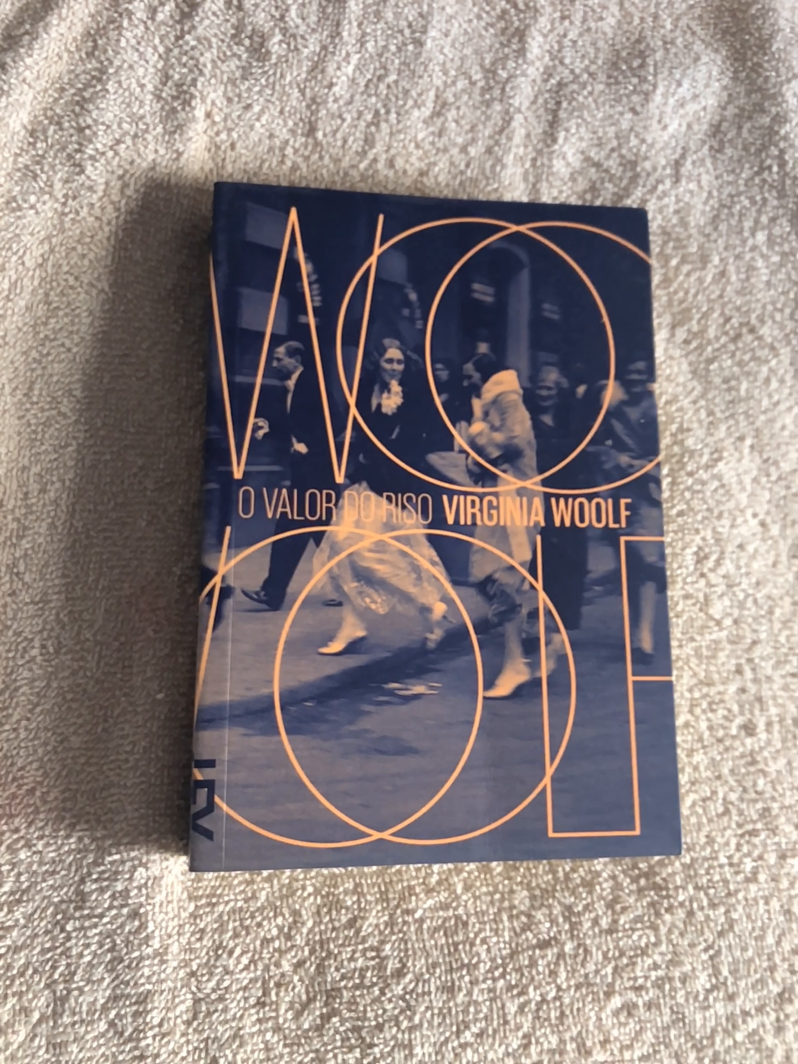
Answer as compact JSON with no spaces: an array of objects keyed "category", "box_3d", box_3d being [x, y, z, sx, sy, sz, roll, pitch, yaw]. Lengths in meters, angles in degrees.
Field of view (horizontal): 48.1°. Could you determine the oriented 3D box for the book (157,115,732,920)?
[{"category":"book","box_3d":[0.011,-0.004,0.248,0.140,0.050,0.190,2,82,-12]}]
